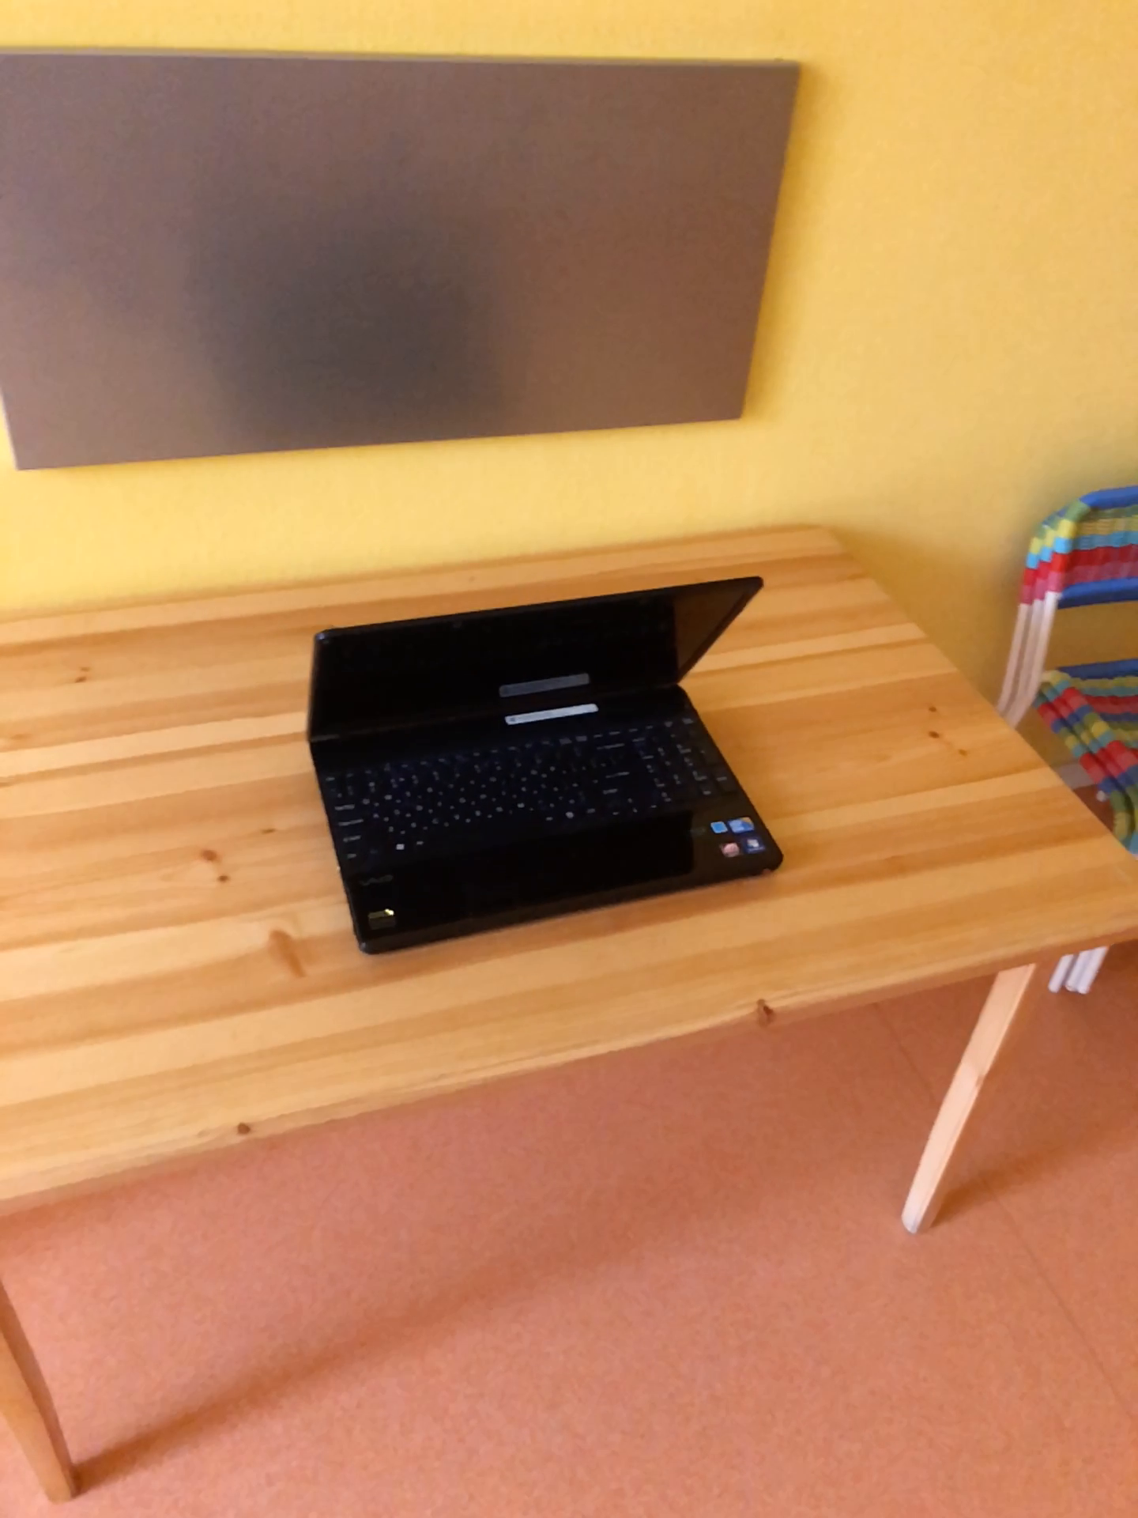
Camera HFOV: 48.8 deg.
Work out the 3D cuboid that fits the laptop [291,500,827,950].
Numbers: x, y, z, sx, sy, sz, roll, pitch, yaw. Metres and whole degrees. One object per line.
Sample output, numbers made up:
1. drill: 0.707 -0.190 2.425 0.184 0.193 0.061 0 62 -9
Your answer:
1. laptop: -0.021 -0.042 1.036 0.362 0.200 0.248 -9 43 -17
